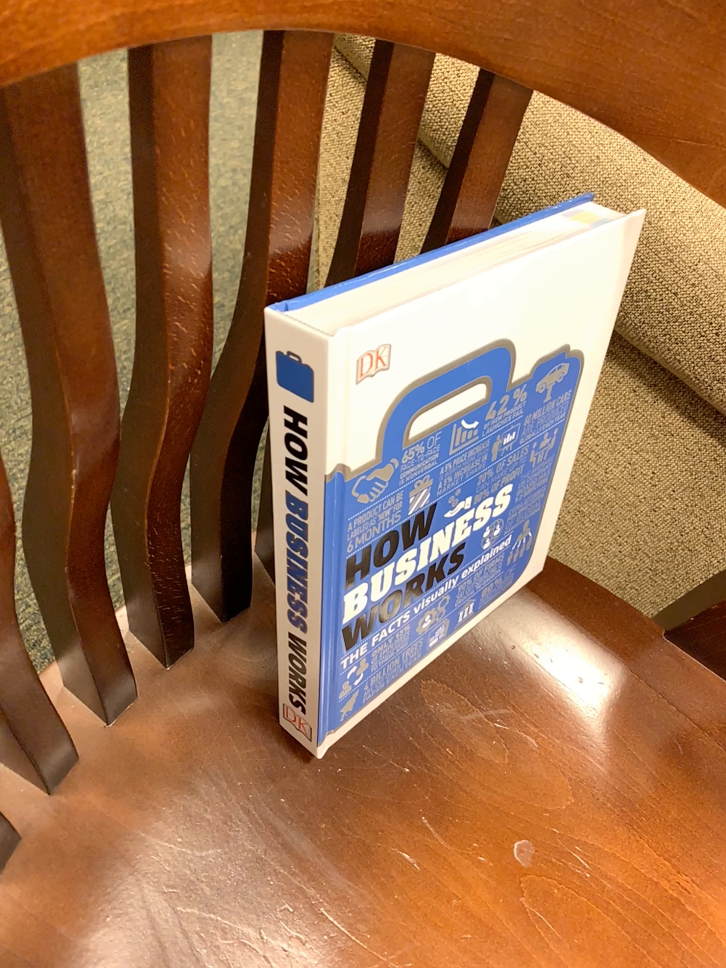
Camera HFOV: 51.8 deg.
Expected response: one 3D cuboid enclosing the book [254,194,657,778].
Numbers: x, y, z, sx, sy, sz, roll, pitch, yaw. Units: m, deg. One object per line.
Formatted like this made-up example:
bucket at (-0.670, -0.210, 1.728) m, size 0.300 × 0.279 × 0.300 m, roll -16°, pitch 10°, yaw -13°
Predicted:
book at (0.042, 0.003, 0.378) m, size 0.039 × 0.246 × 0.212 m, roll 34°, pitch 46°, yaw 31°
